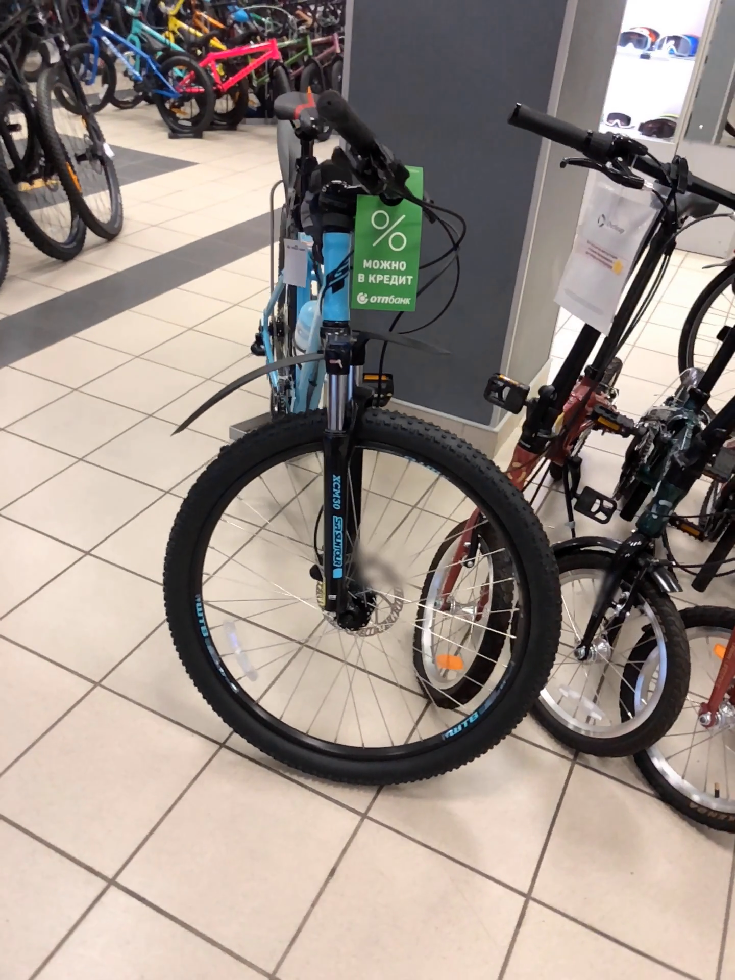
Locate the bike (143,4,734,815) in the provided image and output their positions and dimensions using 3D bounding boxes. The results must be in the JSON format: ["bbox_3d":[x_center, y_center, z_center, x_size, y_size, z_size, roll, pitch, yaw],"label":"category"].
[{"bbox_3d":[0.015,-0.353,1.826,0.692,1.084,1.618,-8,37,-19],"label":"bike"}]
